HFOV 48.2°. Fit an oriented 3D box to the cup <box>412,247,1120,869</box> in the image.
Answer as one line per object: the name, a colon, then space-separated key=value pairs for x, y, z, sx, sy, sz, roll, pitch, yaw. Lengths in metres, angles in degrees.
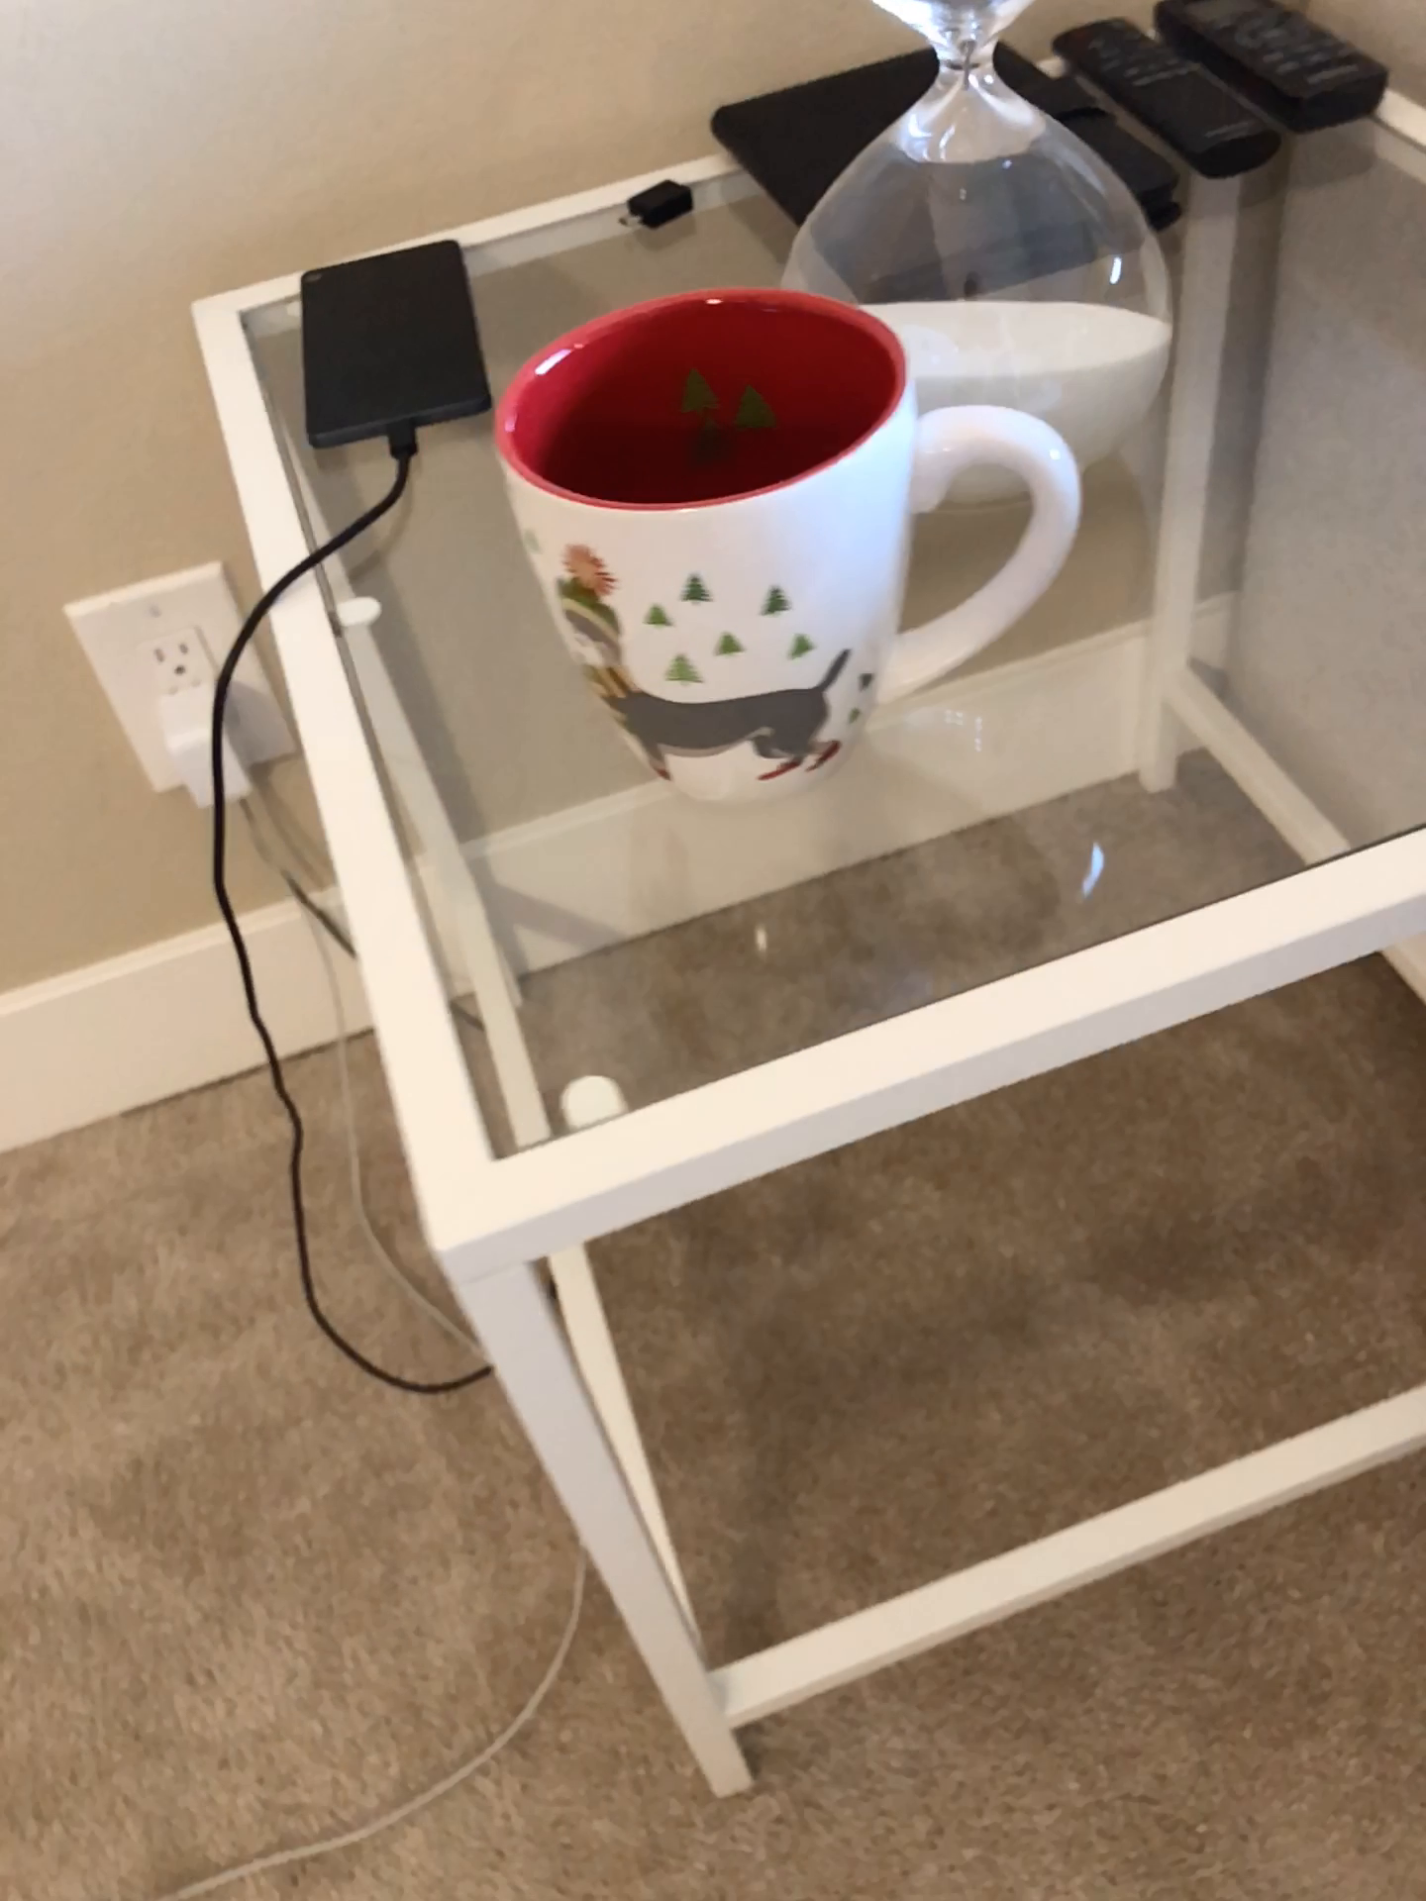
cup: x=0.021 y=-0.096 z=0.407 sx=0.150 sy=0.110 sz=0.100 roll=0 pitch=49 yaw=10
